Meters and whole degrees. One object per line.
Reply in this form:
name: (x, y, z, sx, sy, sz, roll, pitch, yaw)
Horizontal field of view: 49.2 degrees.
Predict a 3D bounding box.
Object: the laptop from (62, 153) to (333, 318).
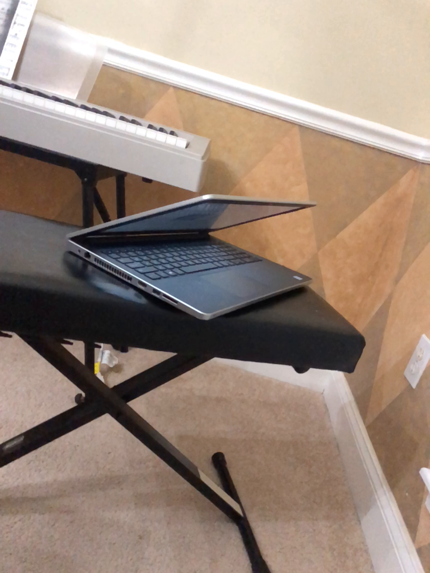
laptop: (-0.004, -0.098, 0.780, 0.256, 0.132, 0.377, 27, 21, 25)
